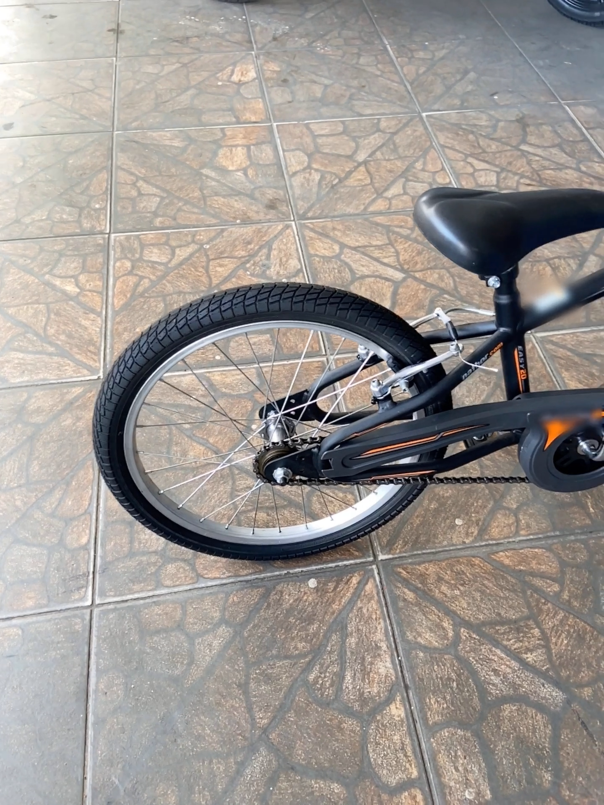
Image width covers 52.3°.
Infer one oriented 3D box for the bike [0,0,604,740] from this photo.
[{"bbox_3d":[0.367,-0.229,0.848,1.351,0.979,0.726,-10,54,-12],"label":"bike"}]
